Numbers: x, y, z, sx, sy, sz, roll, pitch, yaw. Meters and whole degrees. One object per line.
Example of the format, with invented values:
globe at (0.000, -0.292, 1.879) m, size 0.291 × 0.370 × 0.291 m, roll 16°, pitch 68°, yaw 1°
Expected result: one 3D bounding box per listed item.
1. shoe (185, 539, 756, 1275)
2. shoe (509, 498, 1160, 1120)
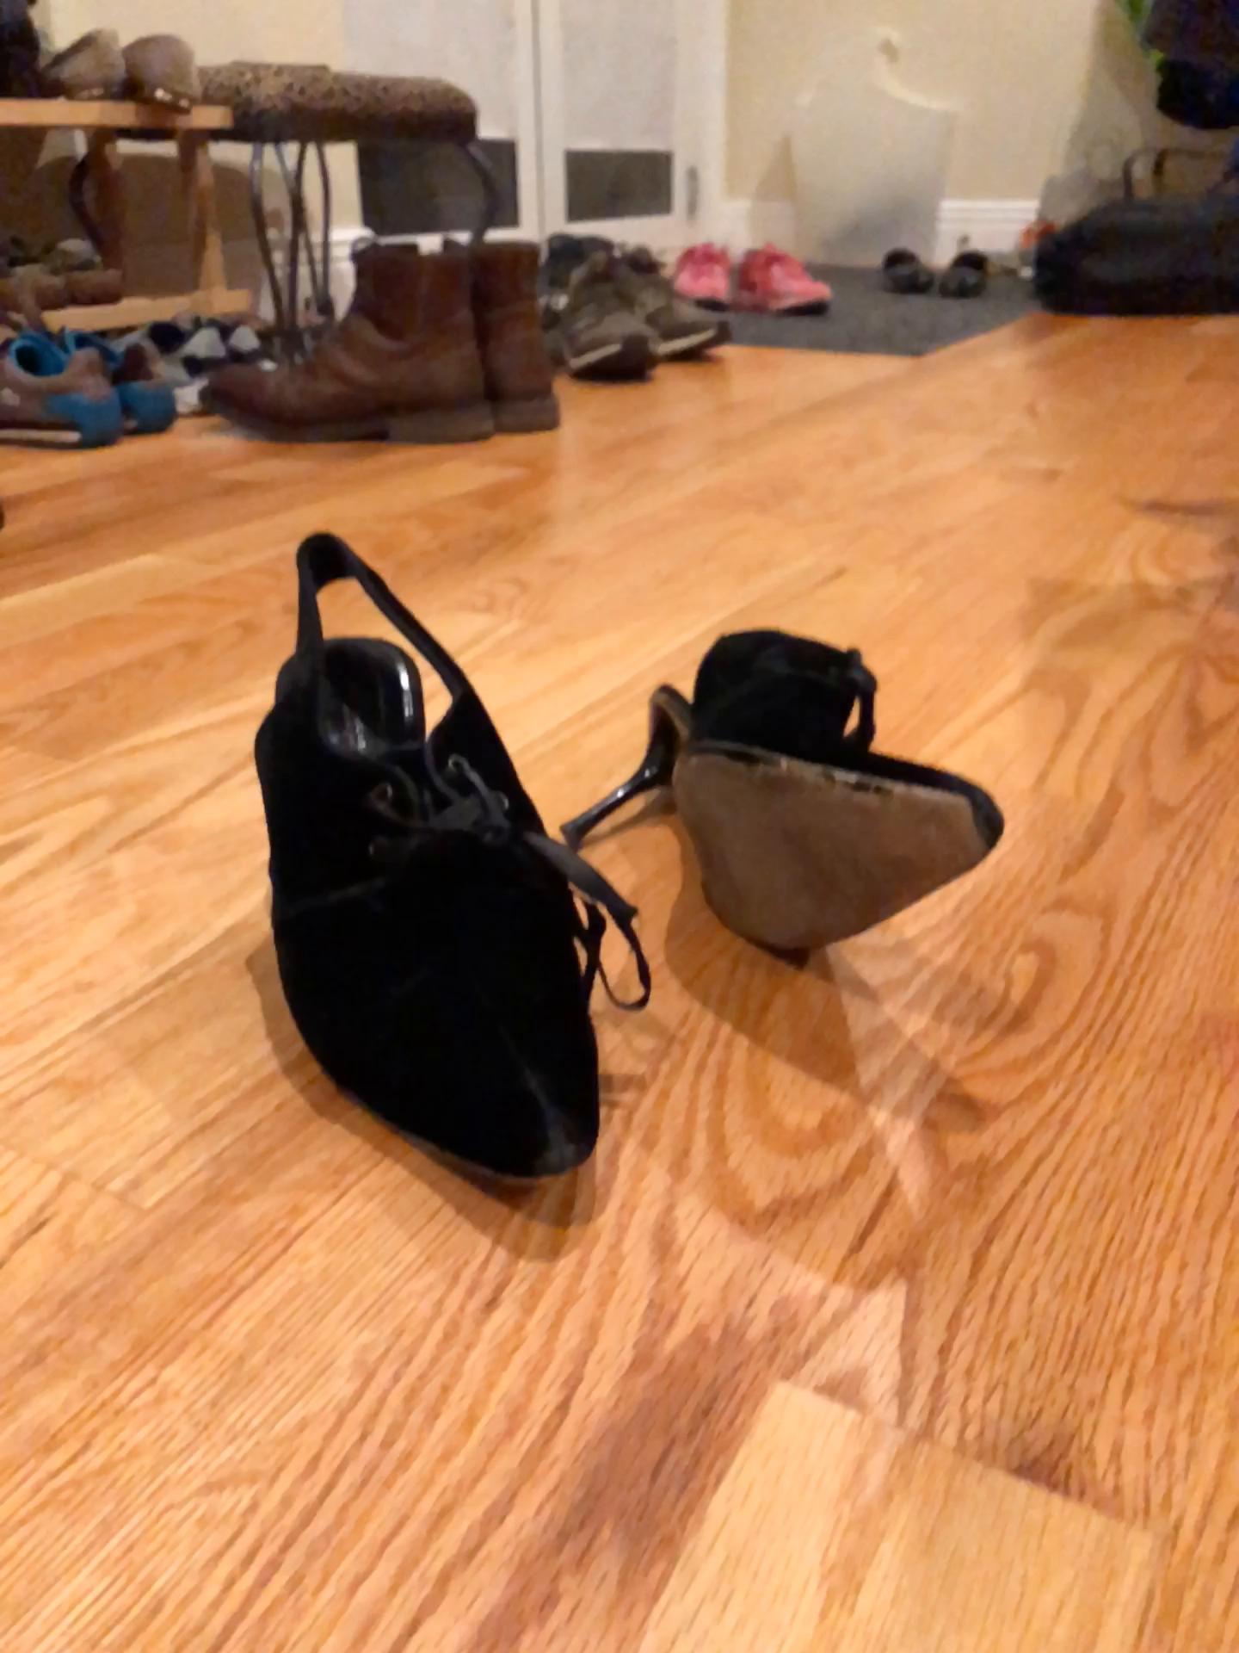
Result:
shoe at (-0.063, -0.001, 0.441) m, size 0.107 × 0.117 × 0.253 m, roll -10°, pitch 27°, yaw -19°
shoe at (0.050, -0.029, 0.474) m, size 0.118 × 0.107 × 0.253 m, roll -9°, pitch 26°, yaw -14°
